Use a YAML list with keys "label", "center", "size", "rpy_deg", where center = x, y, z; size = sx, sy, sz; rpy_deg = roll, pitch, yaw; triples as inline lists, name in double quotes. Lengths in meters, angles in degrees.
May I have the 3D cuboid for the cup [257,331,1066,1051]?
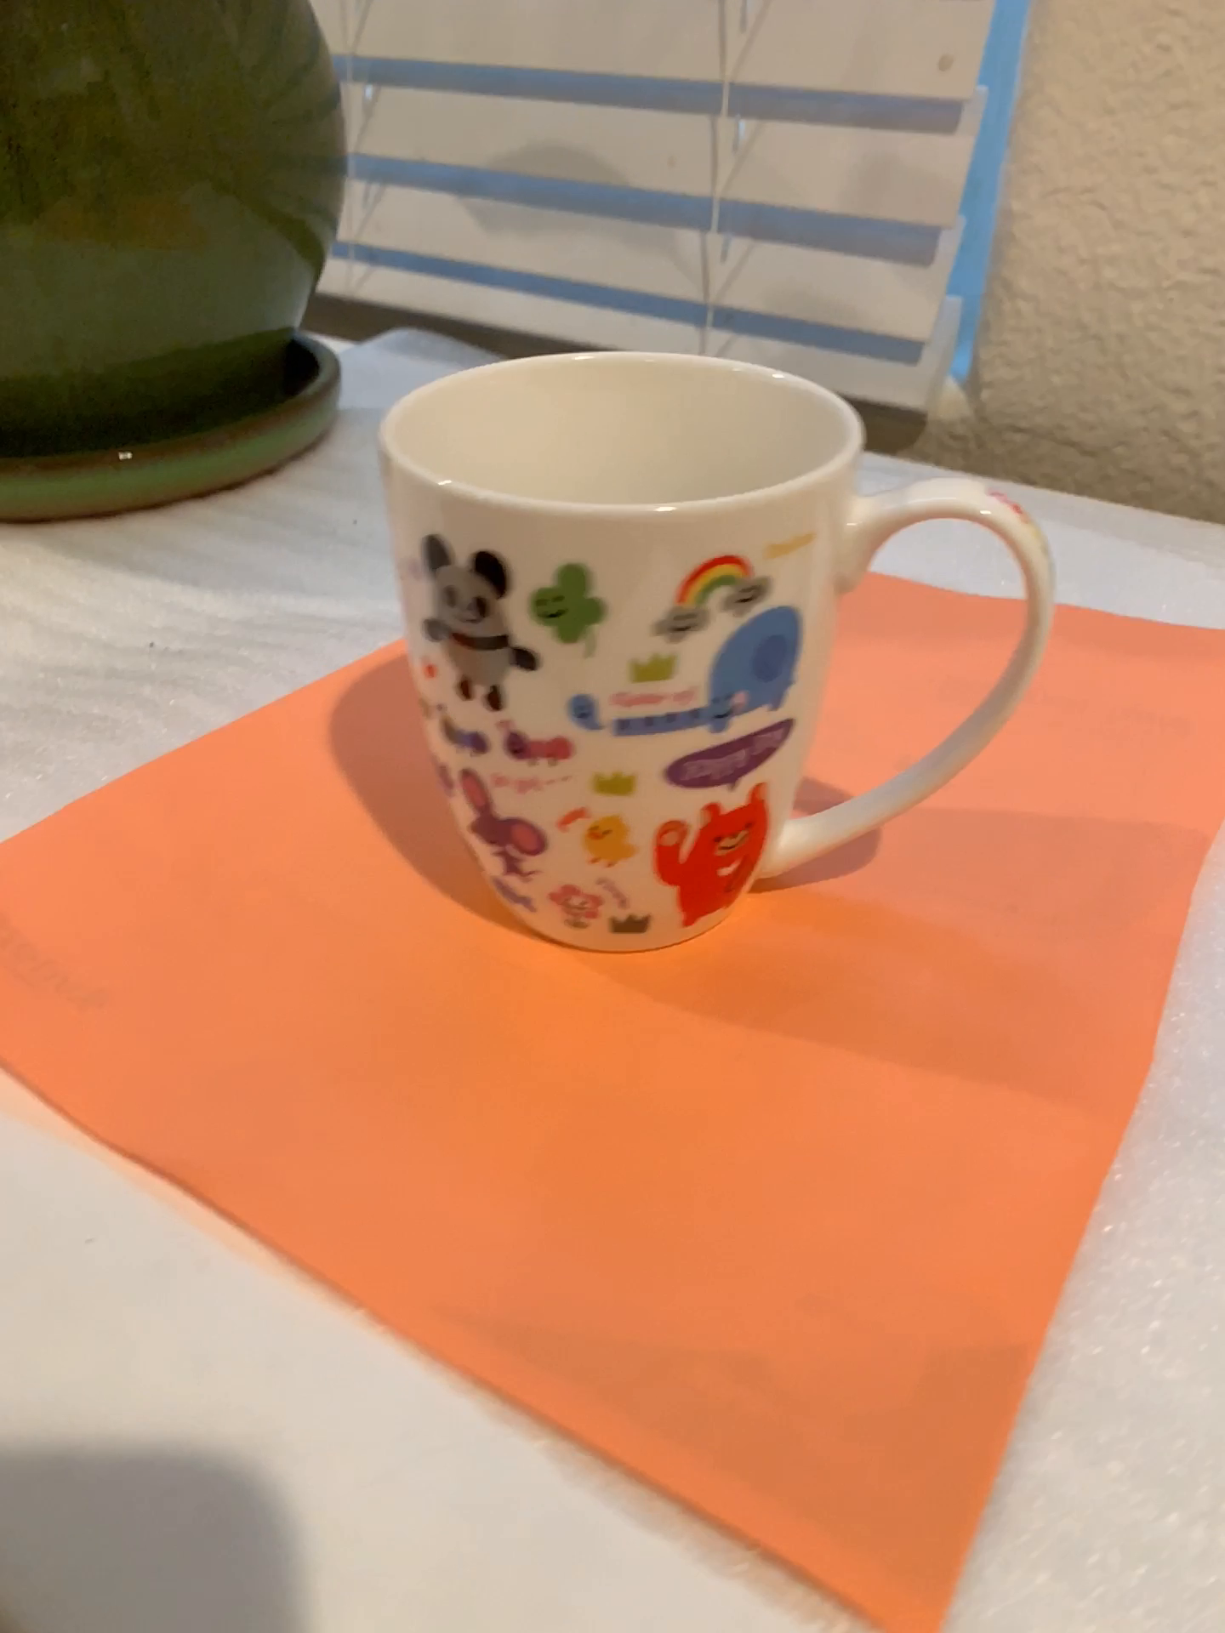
- label: "cup"
  center: [0.015, -0.032, 0.245]
  size: [0.120, 0.089, 0.091]
  rpy_deg: [10, 36, 14]
